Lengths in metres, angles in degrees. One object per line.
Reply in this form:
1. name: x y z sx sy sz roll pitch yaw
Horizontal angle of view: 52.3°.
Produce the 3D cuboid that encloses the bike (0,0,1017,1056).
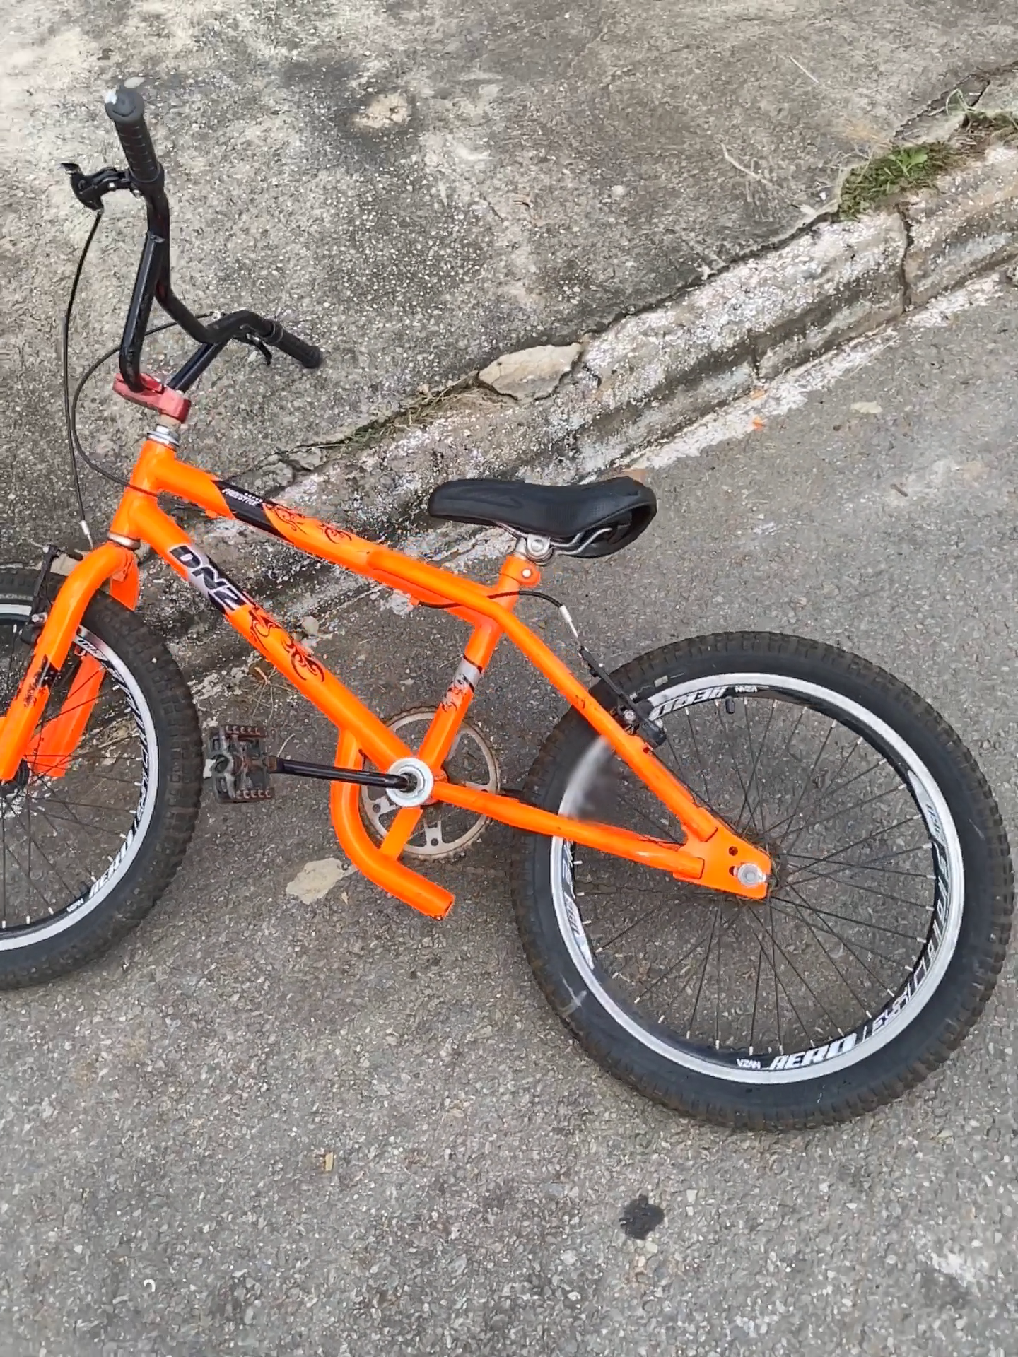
1. bike: -0.091 -0.233 1.183 1.353 0.857 0.749 9 54 12
